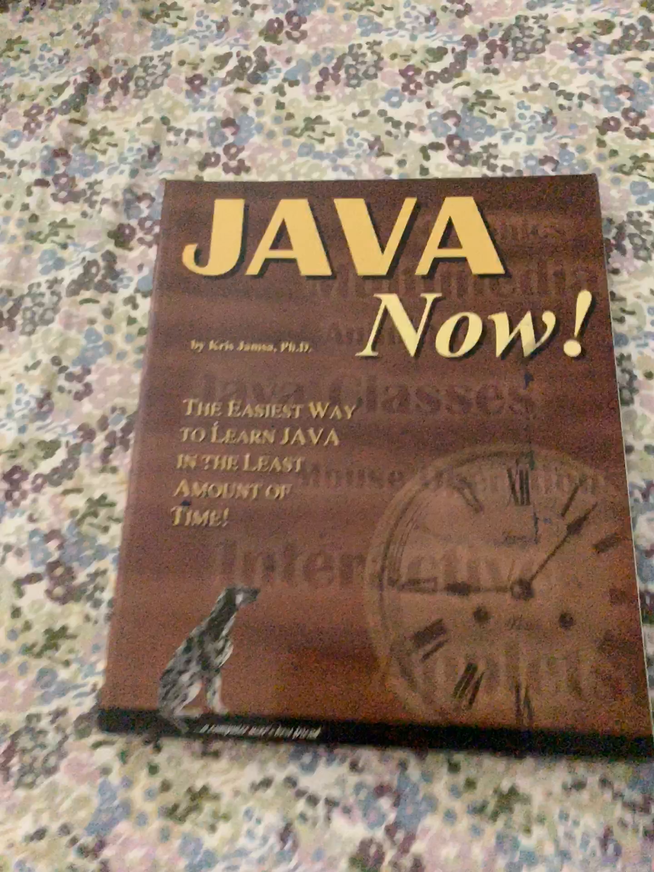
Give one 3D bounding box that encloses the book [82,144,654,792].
[{"bbox_3d":[0.028,-0.003,0.285,0.220,0.030,0.260,1,74,3],"label":"book"}]
